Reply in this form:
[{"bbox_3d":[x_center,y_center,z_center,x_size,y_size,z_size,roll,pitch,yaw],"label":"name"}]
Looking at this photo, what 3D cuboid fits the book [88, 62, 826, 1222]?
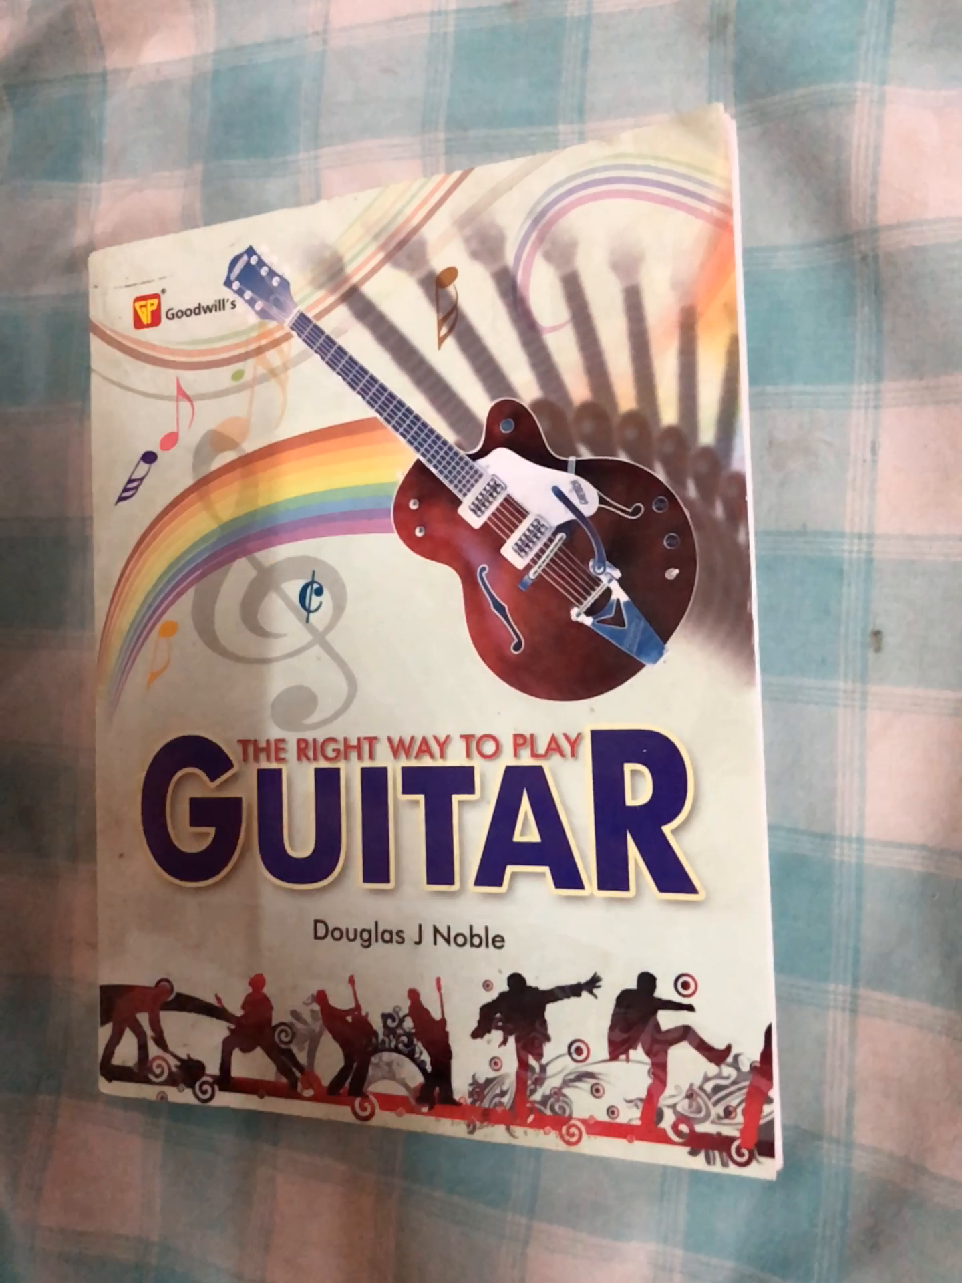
[{"bbox_3d":[-0.015,0.001,0.266,0.180,0.030,0.240,-3,86,21],"label":"book"}]
